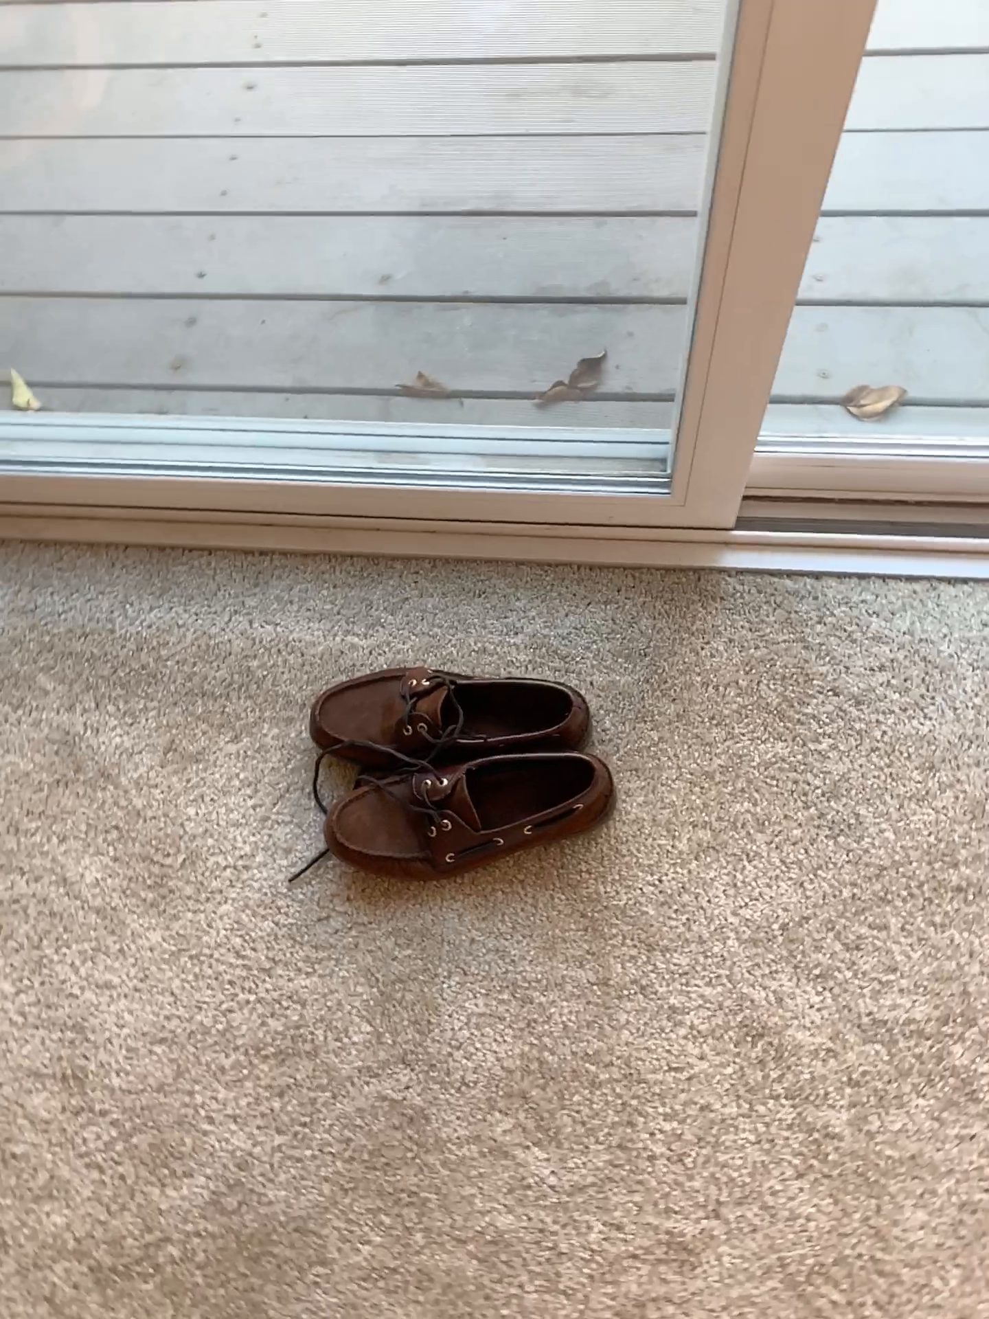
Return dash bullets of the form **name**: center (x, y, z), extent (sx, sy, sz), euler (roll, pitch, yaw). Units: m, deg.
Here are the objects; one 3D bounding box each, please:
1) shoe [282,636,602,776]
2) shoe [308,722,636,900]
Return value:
- **shoe**: center (-0.044, 0.047, 1.007), extent (0.300, 0.100, 0.110), euler (0, 68, 6)
- **shoe**: center (-0.020, 0.148, 0.971), extent (0.290, 0.100, 0.100), euler (-10, 68, 1)
